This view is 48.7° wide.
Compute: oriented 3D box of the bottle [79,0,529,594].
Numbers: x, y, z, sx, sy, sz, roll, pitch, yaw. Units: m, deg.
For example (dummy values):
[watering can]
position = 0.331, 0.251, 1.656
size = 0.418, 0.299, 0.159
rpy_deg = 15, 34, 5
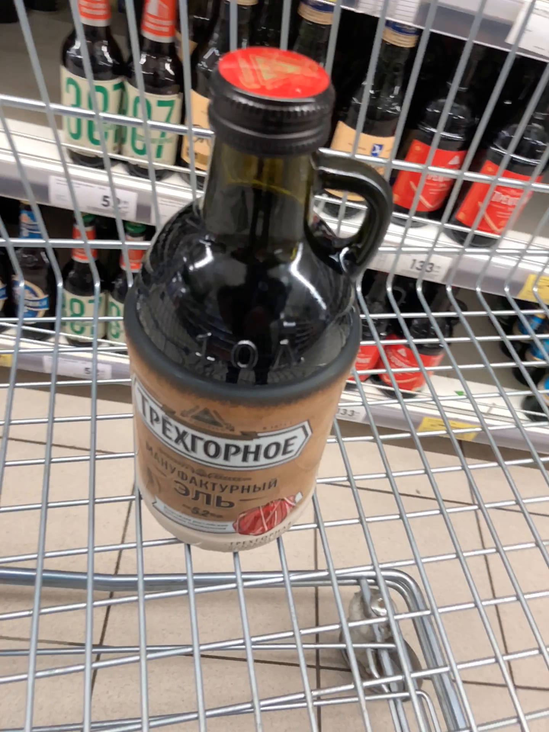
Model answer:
[bottle]
position = -0.001, -0.016, 0.258
size = 0.110, 0.229, 0.101
rpy_deg = 7, 47, -8
